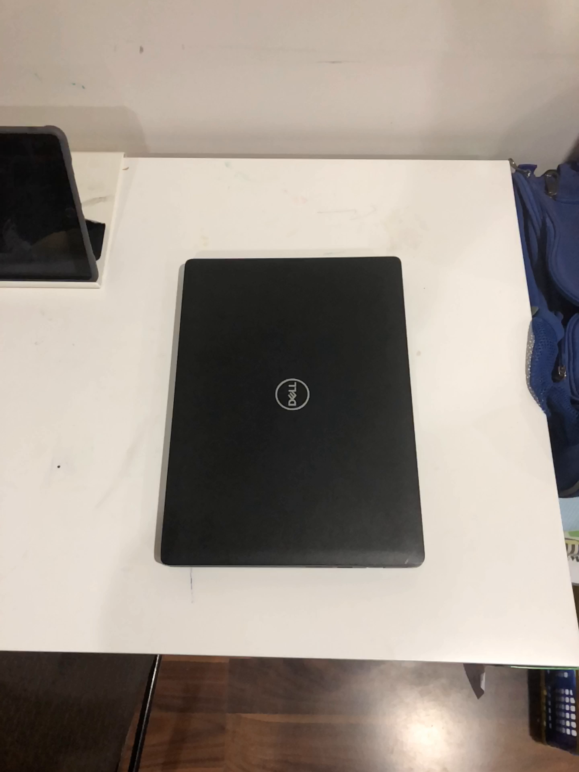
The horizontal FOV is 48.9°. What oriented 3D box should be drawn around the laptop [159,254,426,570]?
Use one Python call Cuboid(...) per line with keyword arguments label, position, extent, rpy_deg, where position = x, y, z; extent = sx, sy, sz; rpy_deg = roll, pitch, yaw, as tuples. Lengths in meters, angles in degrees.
Cuboid(label="laptop", position=(0.002, 0.011, 0.642), extent=(0.241, 0.010, 0.333), rpy_deg=(-1, 67, 4))
